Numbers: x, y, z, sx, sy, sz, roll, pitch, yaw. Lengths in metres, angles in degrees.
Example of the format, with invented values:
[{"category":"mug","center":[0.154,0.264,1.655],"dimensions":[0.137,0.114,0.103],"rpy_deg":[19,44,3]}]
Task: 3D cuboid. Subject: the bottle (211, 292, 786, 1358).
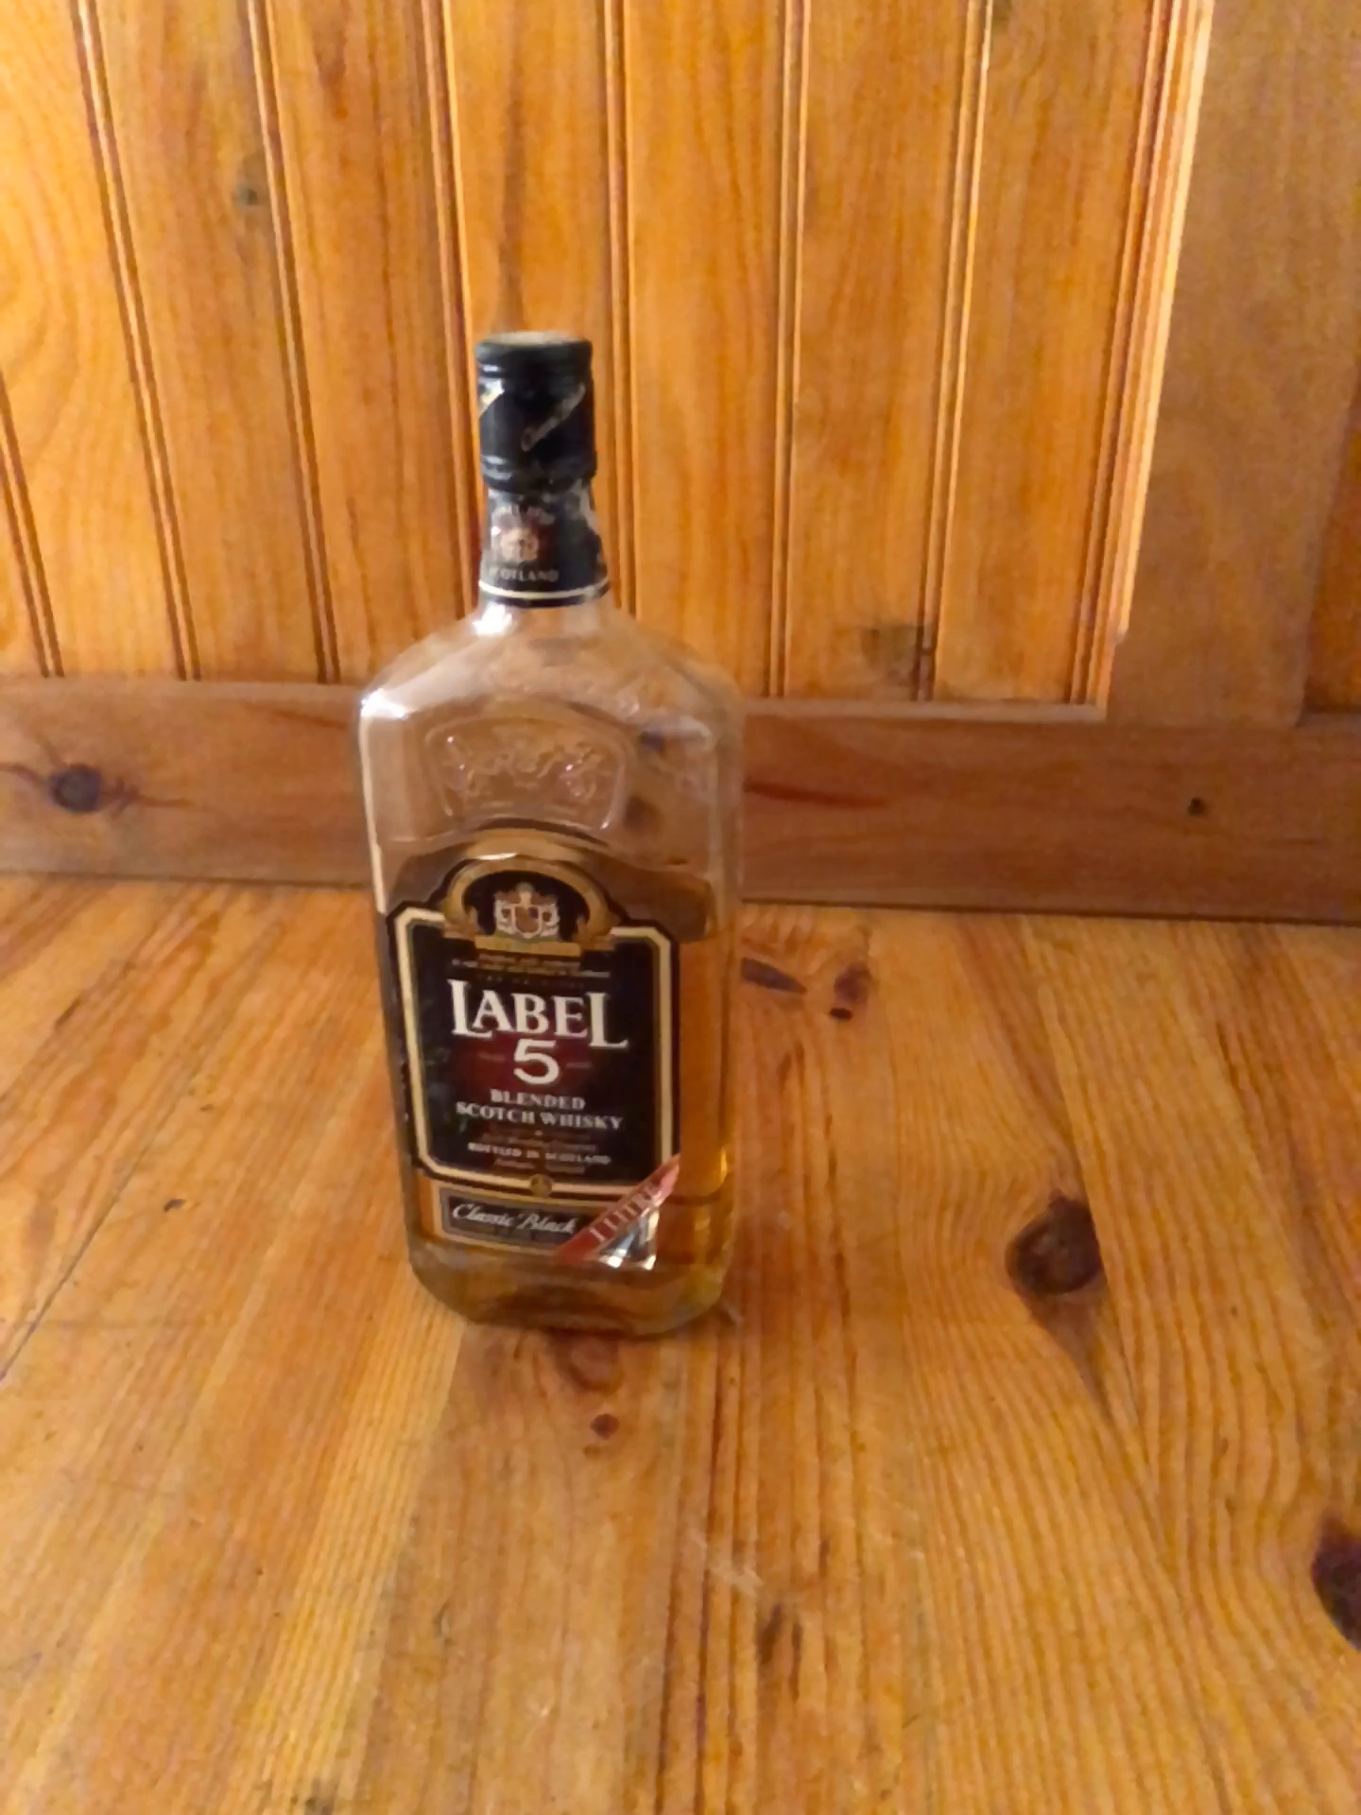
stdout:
[{"category":"bottle","center":[-0.038,-0.015,0.430],"dimensions":[0.120,0.288,0.081],"rpy_deg":[4,29,9]}]
